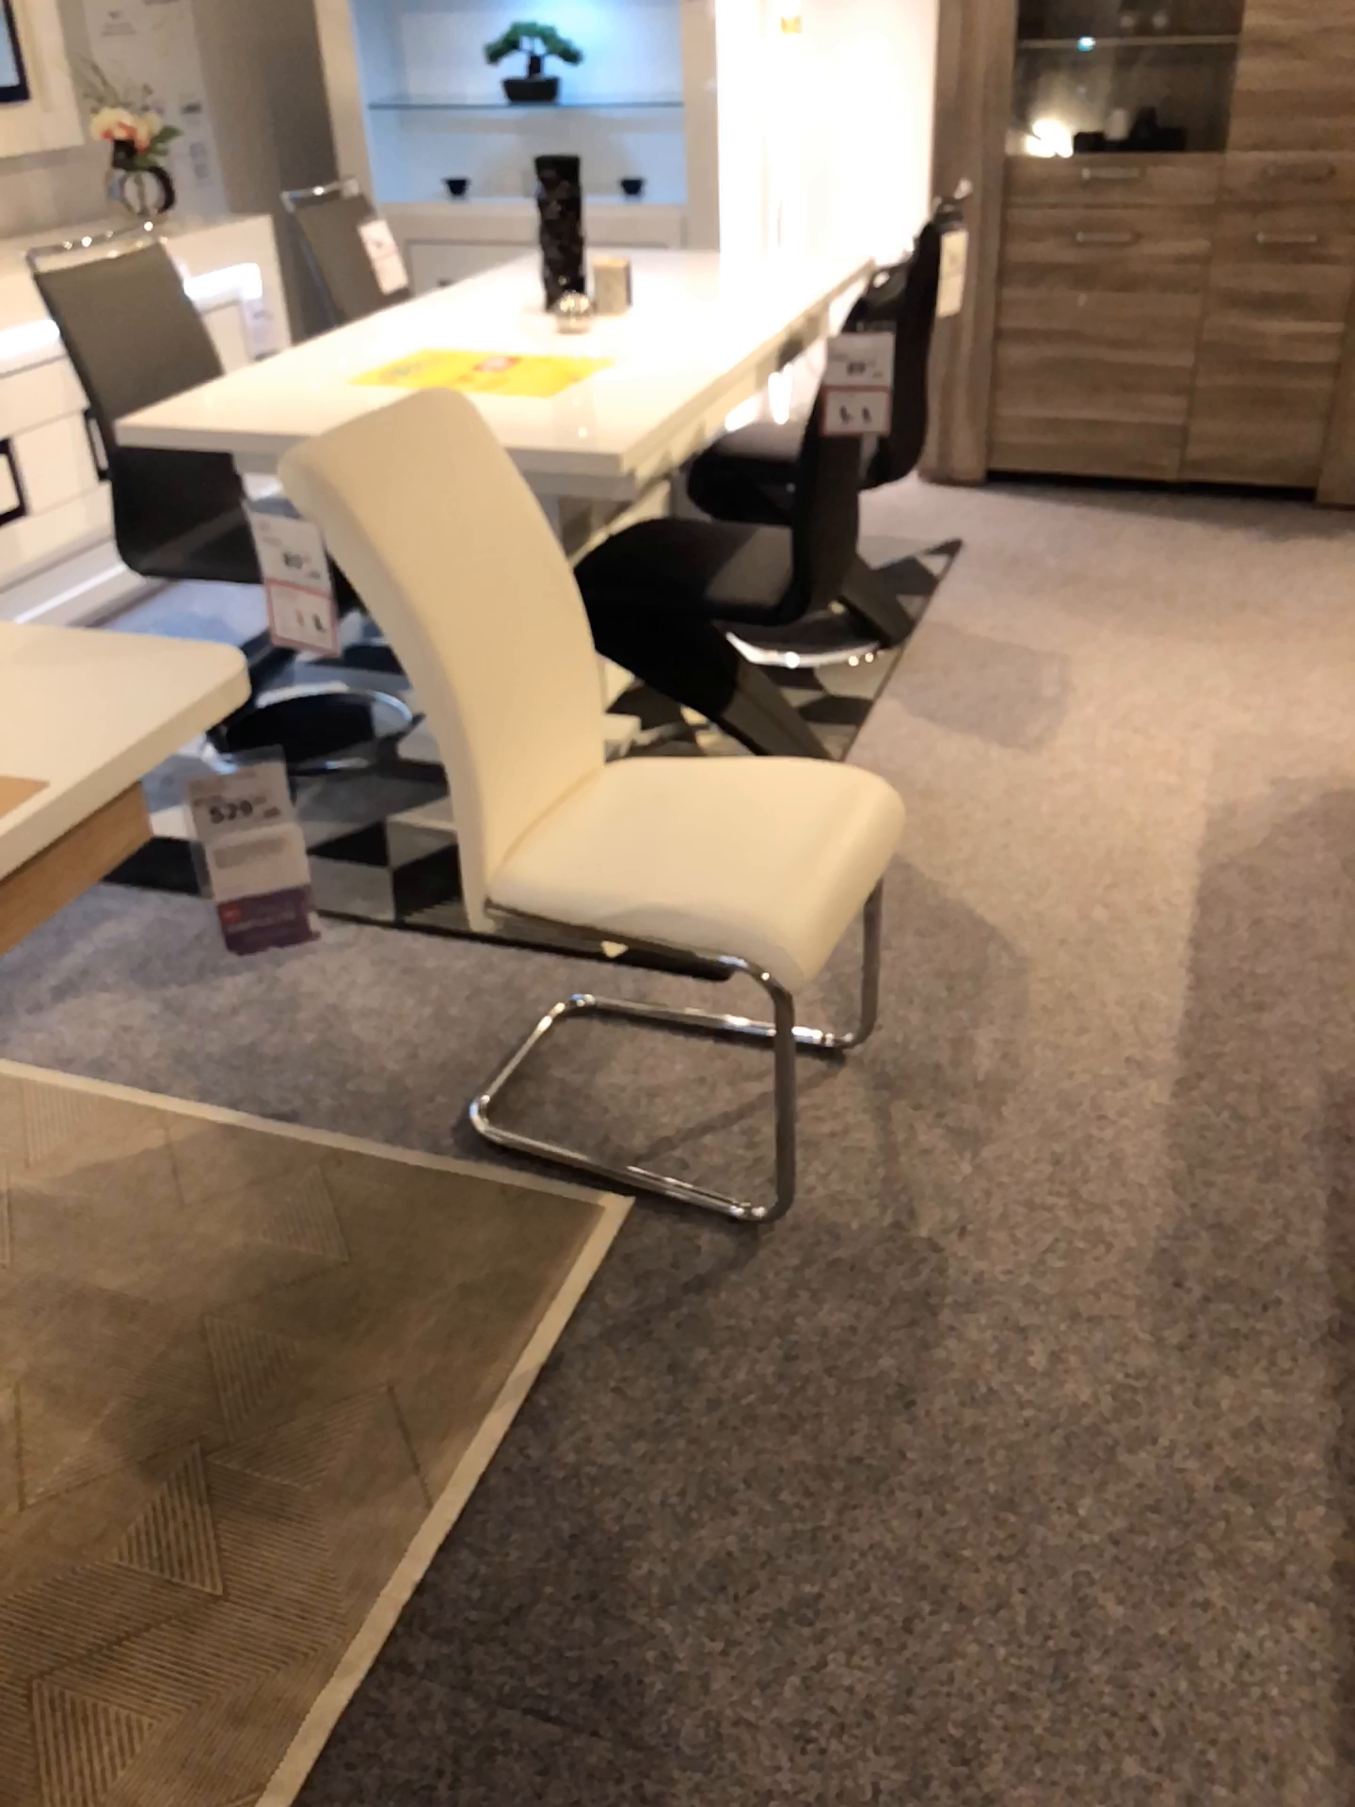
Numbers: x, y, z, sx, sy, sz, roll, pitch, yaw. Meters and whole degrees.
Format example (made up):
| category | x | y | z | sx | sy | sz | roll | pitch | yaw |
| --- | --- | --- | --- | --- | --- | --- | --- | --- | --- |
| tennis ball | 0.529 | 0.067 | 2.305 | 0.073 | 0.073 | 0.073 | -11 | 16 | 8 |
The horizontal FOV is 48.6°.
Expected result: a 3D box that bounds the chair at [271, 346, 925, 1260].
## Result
| category | x | y | z | sx | sy | sz | roll | pitch | yaw |
| --- | --- | --- | --- | --- | --- | --- | --- | --- | --- |
| chair | -0.042 | -0.137 | 1.832 | 0.549 | 0.925 | 0.503 | 8 | 32 | 17 |
